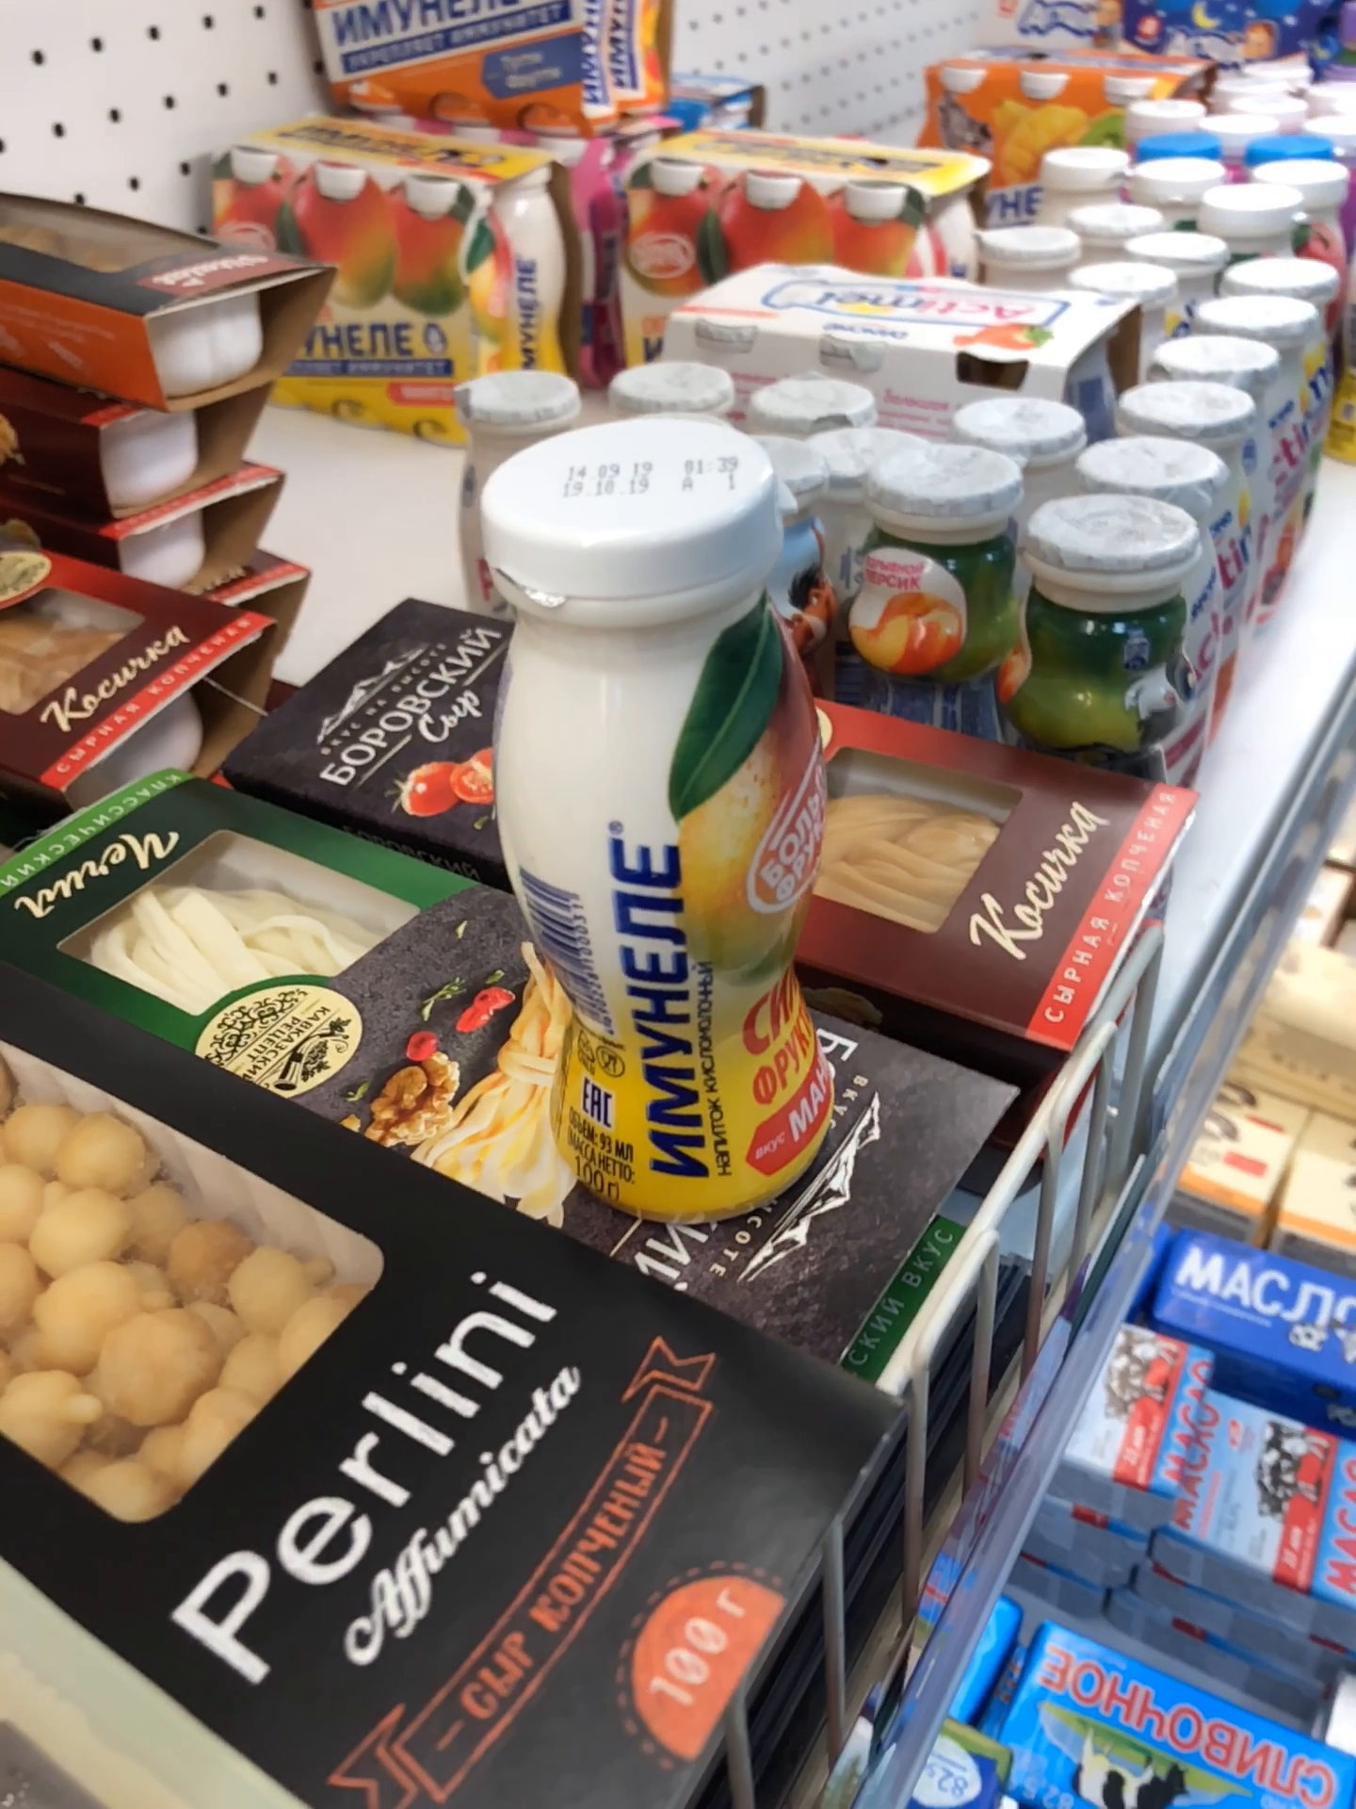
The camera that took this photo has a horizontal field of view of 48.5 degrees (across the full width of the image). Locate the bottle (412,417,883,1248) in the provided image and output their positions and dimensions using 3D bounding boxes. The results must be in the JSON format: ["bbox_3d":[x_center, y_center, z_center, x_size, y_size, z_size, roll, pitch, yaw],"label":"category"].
[{"bbox_3d":[0.002,-0.008,0.203,0.044,0.099,0.046,-3,36,2],"label":"bottle"}]
